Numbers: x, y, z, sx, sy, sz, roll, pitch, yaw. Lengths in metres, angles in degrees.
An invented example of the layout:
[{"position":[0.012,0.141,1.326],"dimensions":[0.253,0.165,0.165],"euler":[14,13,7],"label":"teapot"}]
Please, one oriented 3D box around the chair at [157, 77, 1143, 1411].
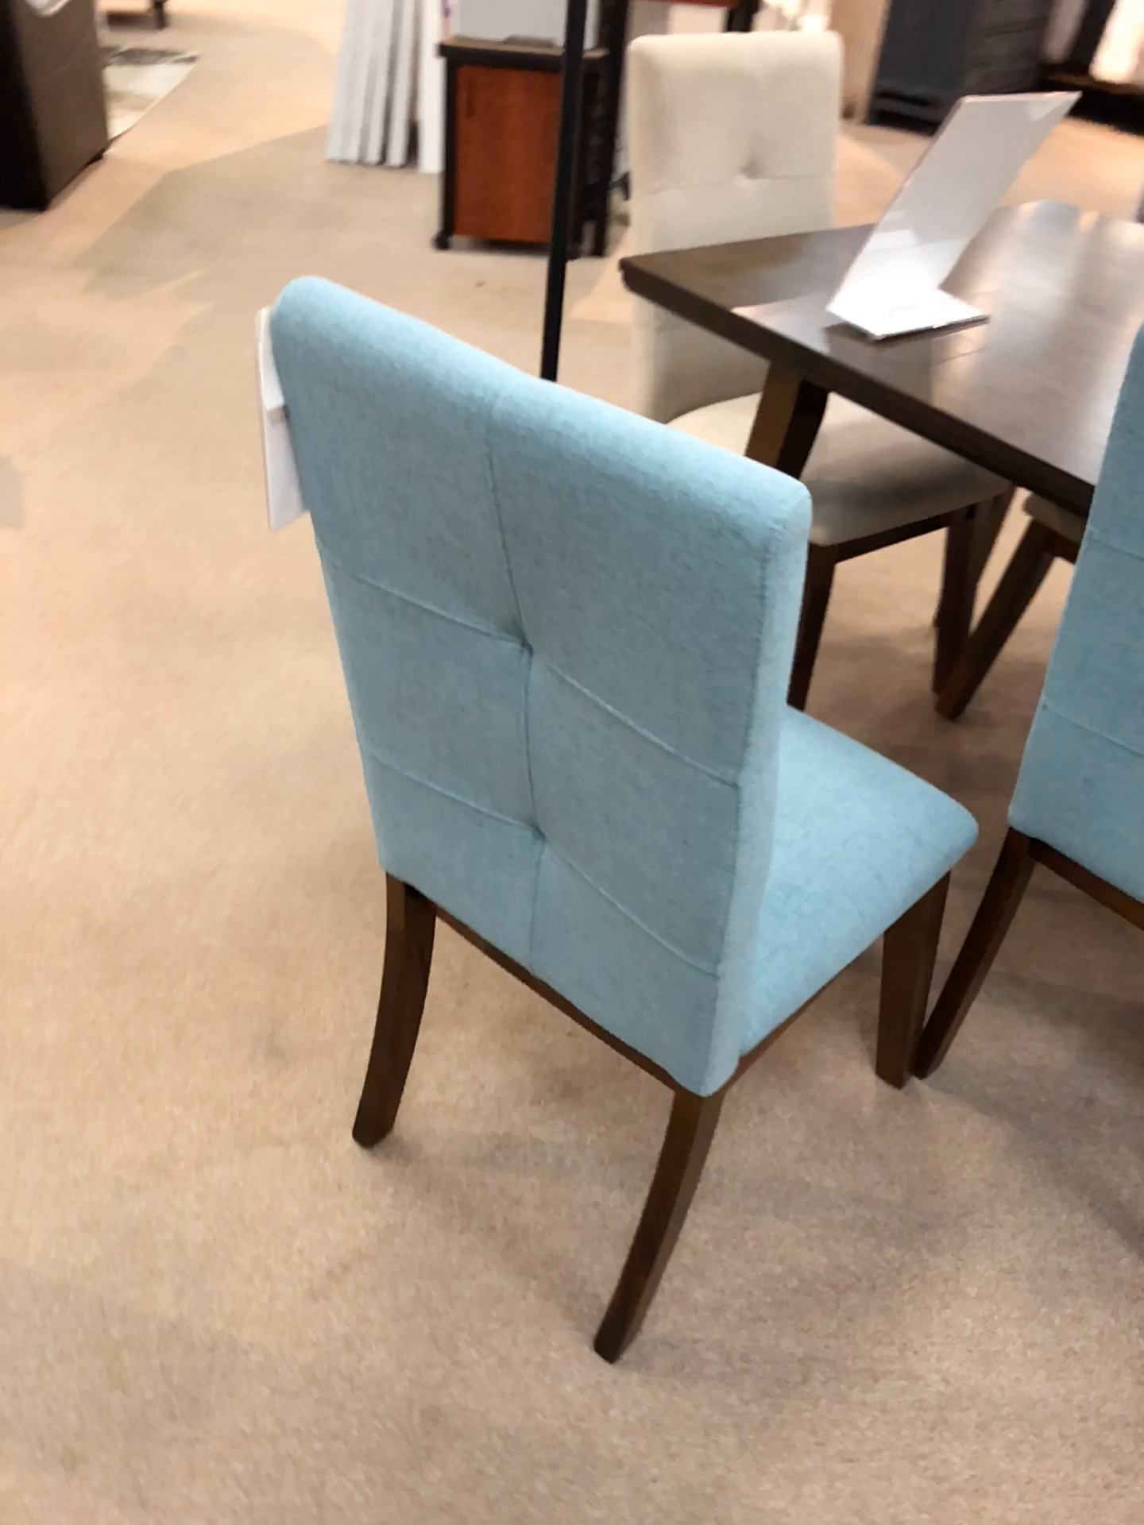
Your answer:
[{"position":[0.096,-0.022,1.213],"dimensions":[0.542,0.993,0.622],"euler":[32,46,29],"label":"chair"}]
